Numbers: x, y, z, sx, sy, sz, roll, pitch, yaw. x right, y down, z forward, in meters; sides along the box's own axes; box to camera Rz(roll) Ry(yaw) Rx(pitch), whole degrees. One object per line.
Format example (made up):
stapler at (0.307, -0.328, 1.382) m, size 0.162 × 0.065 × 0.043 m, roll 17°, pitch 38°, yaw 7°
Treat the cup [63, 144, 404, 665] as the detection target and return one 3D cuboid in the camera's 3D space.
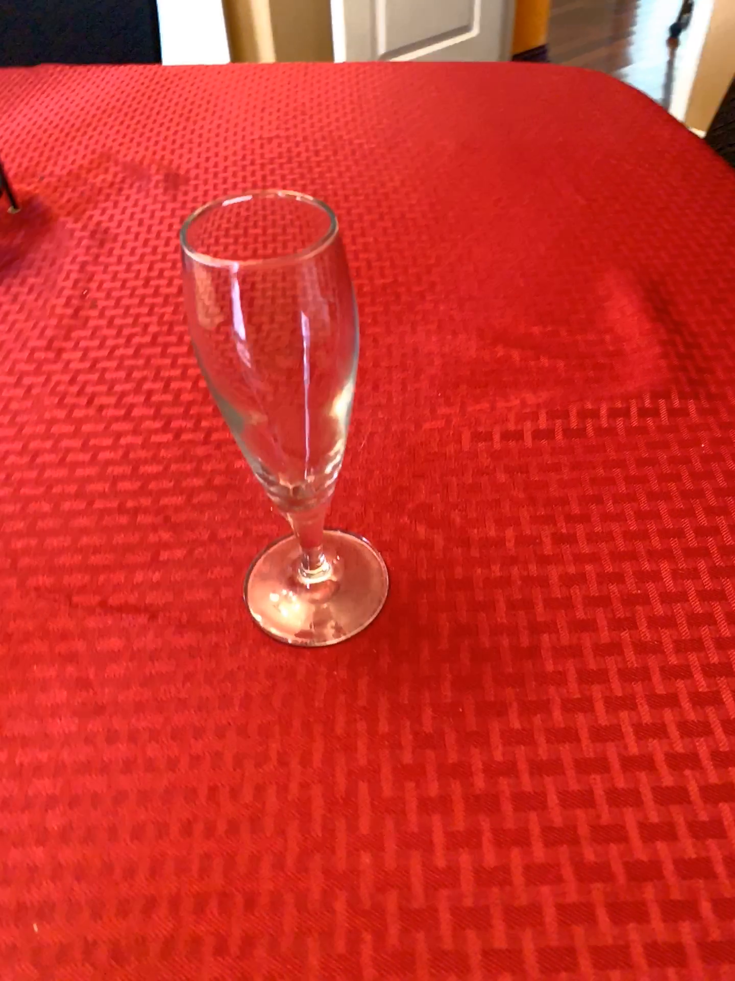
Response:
cup at (-0.031, -0.022, 0.284) m, size 0.080 × 0.179 × 0.080 m, roll -2°, pitch 46°, yaw 2°
